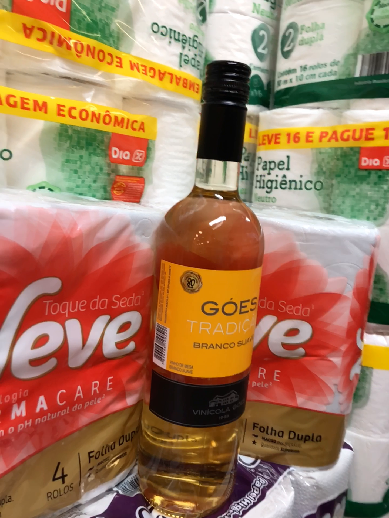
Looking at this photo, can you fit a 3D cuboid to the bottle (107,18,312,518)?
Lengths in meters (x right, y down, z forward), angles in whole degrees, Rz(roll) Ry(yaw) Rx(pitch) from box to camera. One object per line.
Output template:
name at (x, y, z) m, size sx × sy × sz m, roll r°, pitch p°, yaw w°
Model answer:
bottle at (-0.003, 0.026, 0.302) m, size 0.090 × 0.319 × 0.090 m, roll 4°, pitch 12°, yaw -1°
